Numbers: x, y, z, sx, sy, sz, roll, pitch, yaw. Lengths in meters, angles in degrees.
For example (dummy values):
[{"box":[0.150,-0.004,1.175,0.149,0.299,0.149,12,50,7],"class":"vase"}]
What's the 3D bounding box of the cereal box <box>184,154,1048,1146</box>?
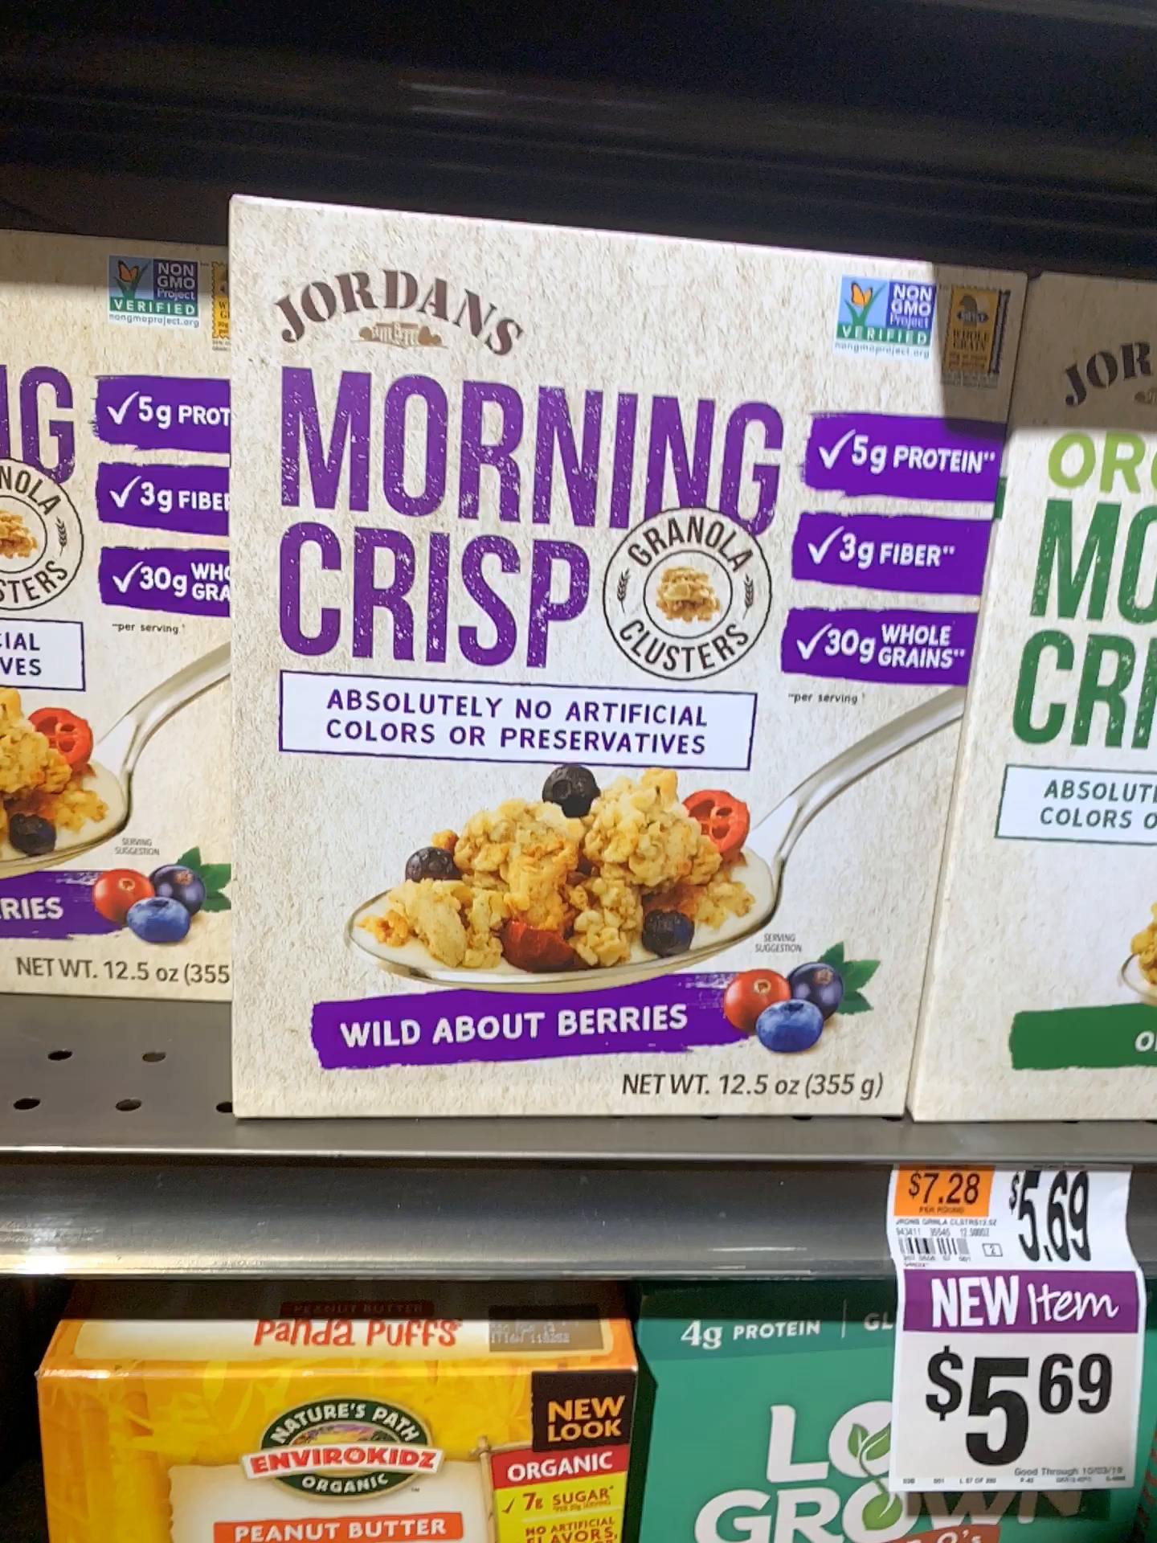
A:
[{"box":[0.002,-0.021,0.302,0.180,0.219,0.060,2,14,-7],"class":"cereal box"}]
